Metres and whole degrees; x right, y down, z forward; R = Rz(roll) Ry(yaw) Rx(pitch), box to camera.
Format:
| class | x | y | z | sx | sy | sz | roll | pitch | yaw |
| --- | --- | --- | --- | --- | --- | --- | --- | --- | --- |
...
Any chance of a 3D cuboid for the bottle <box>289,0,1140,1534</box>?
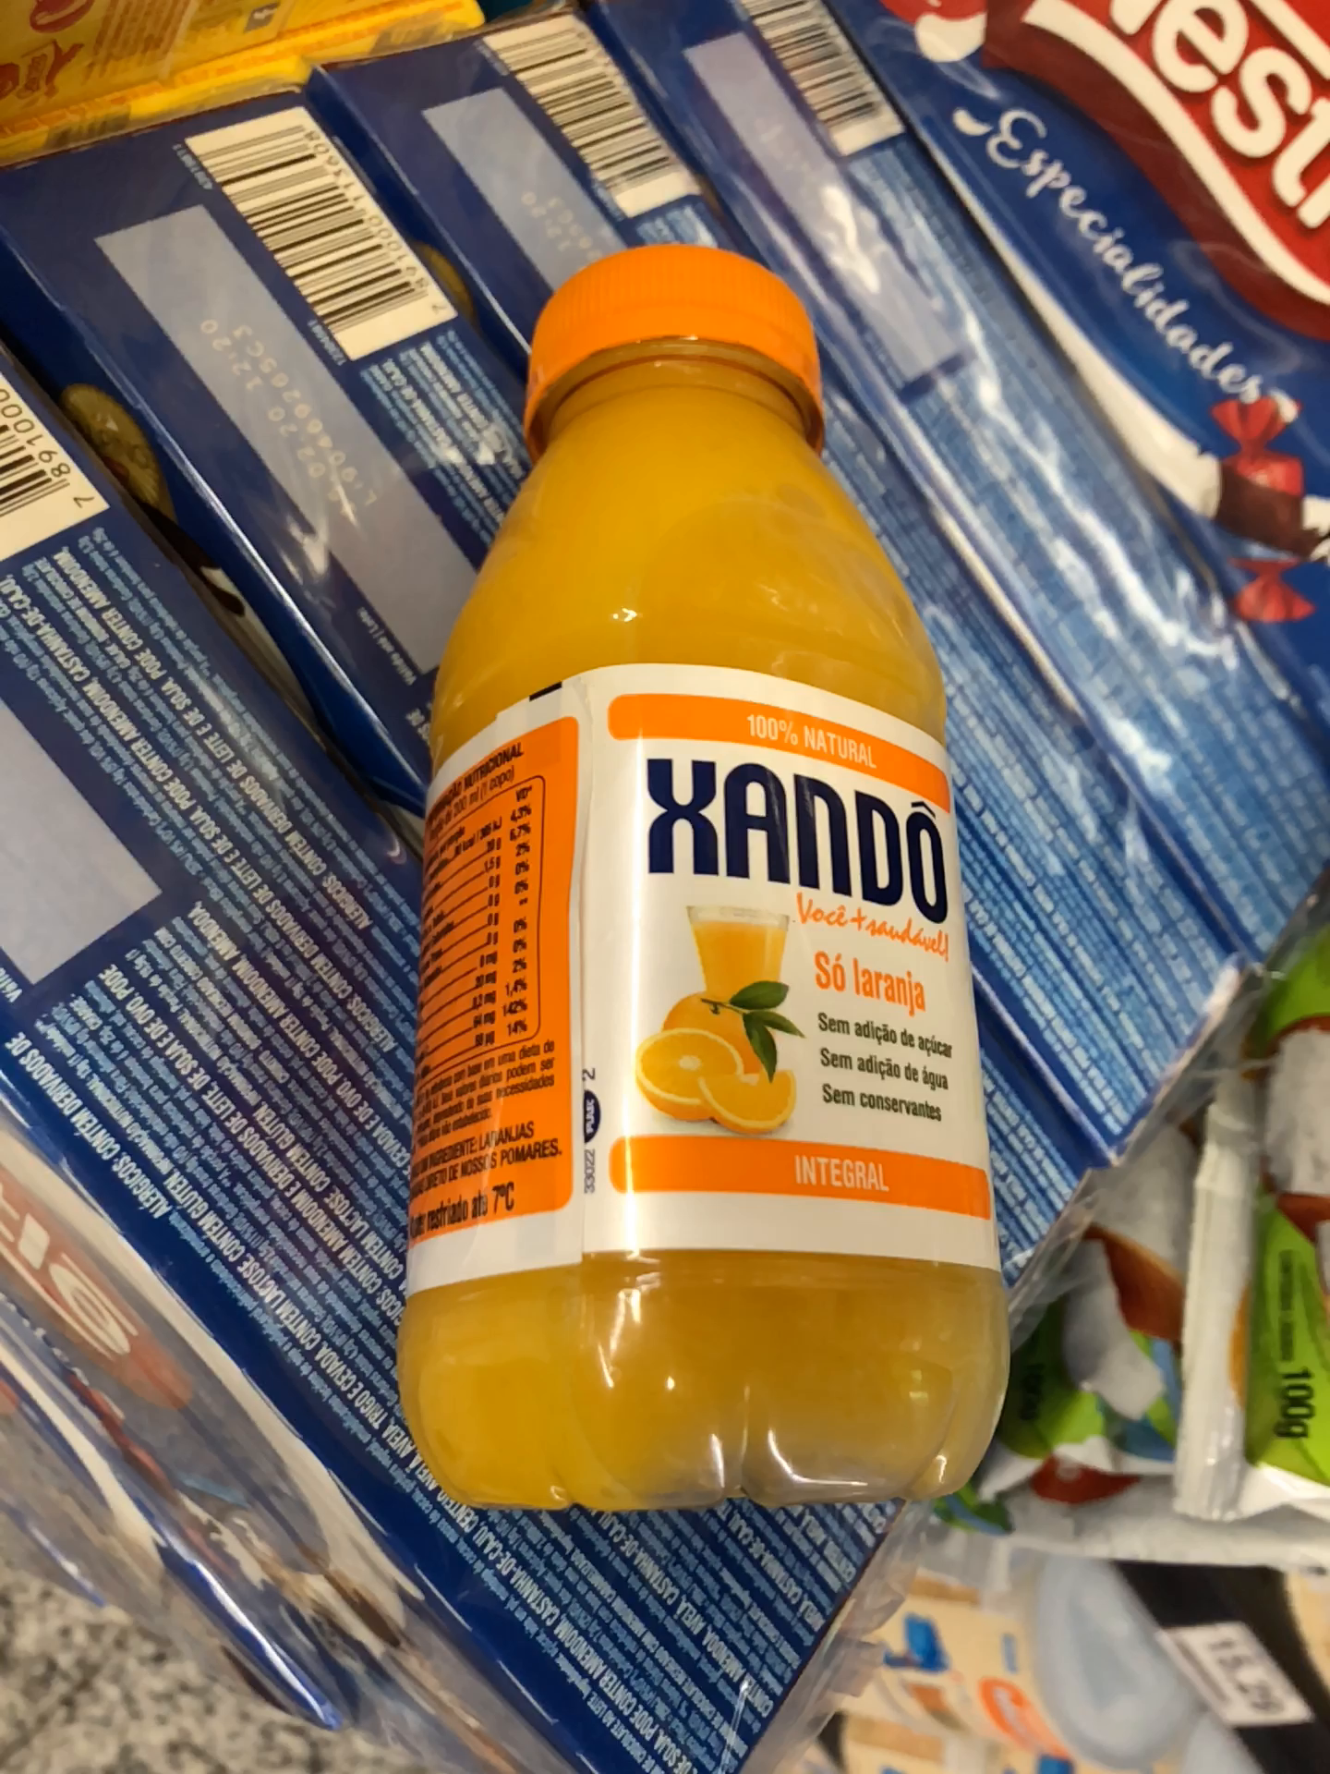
| class | x | y | z | sx | sy | sz | roll | pitch | yaw |
| --- | --- | --- | --- | --- | --- | --- | --- | --- | --- |
| bottle | 0.000 | -0.015 | 0.192 | 0.060 | 0.080 | 0.170 | 10 | 69 | -31 |
